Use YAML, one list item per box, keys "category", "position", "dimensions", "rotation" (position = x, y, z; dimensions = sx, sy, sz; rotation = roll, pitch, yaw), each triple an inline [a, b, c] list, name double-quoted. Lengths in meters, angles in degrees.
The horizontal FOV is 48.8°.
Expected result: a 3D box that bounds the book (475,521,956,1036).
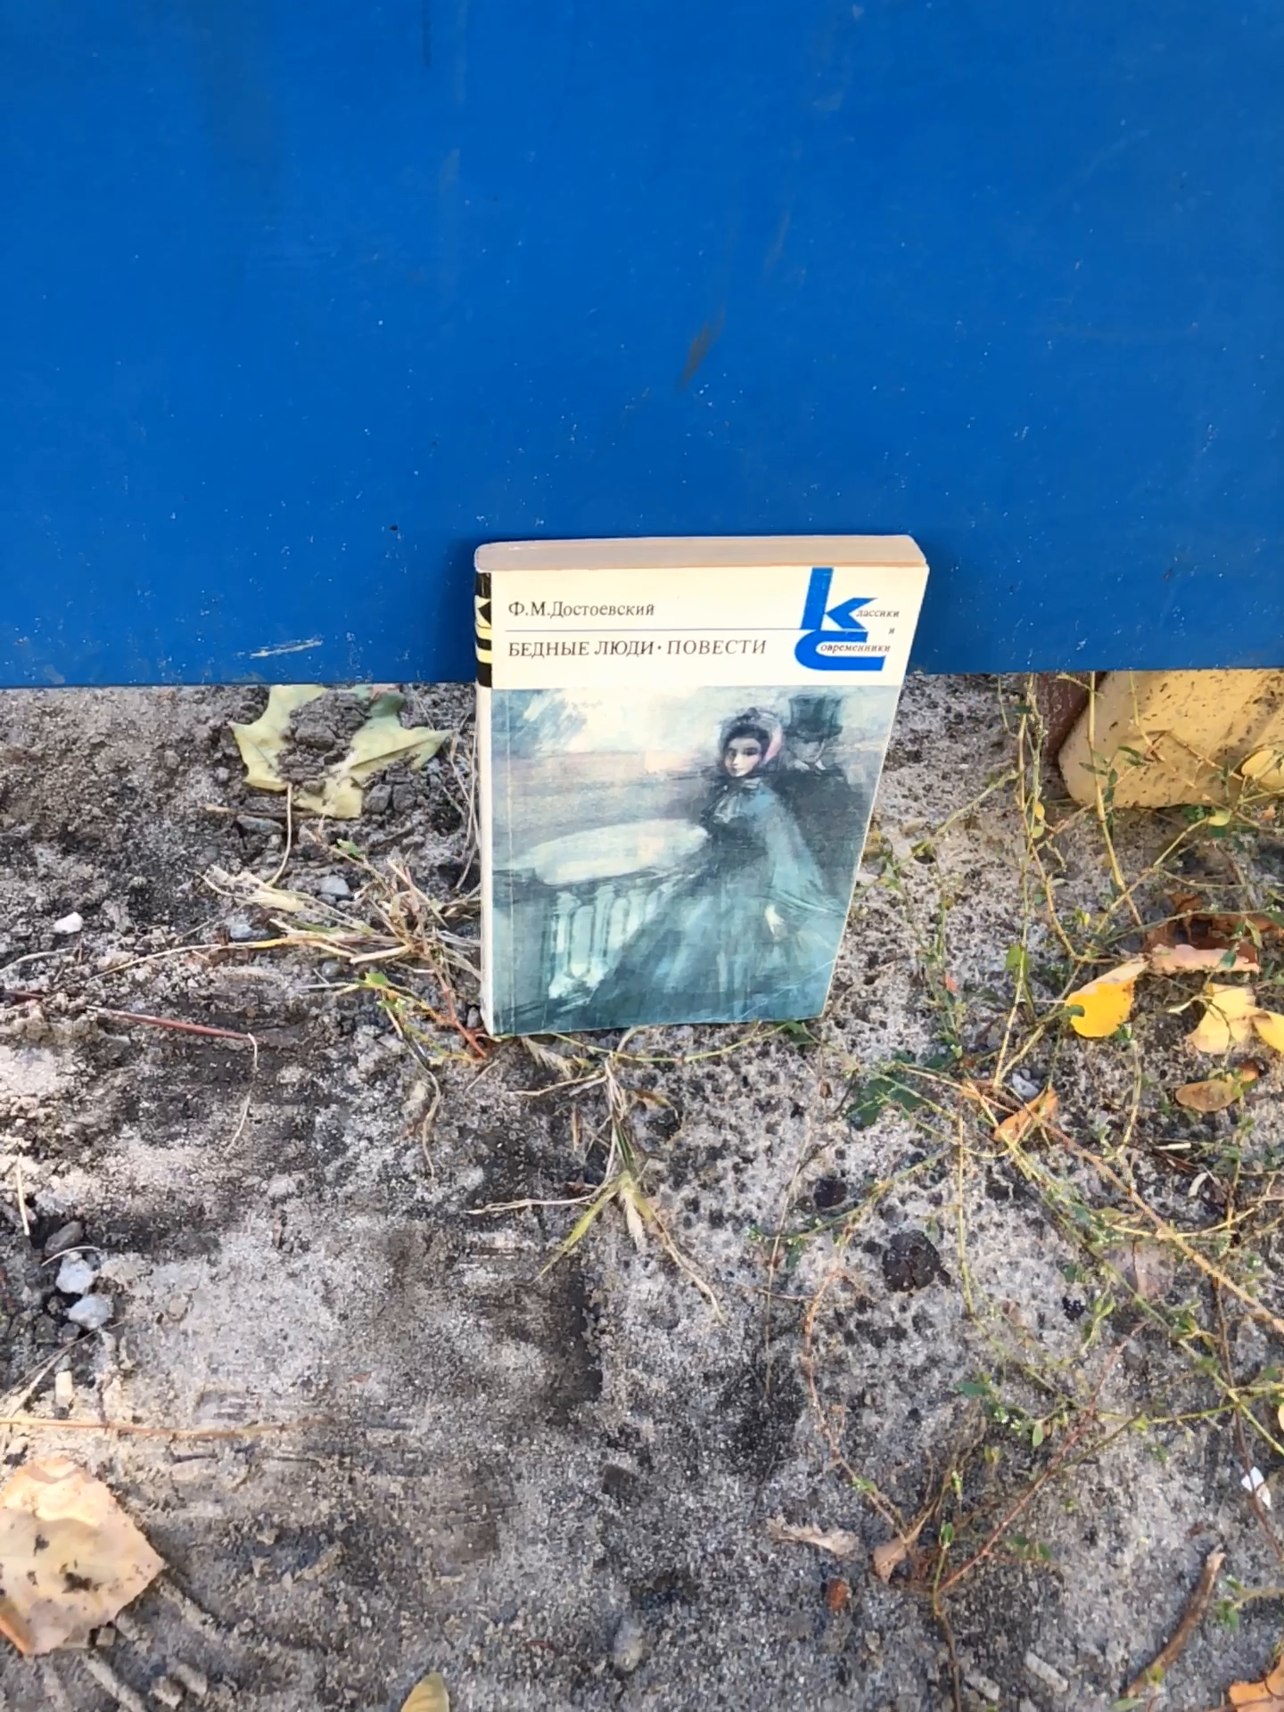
- category: "book"
  position: [0.013, -0.016, 0.445]
  dimensions: [0.127, 0.187, 0.026]
  rotation: [-2, 45, -8]
